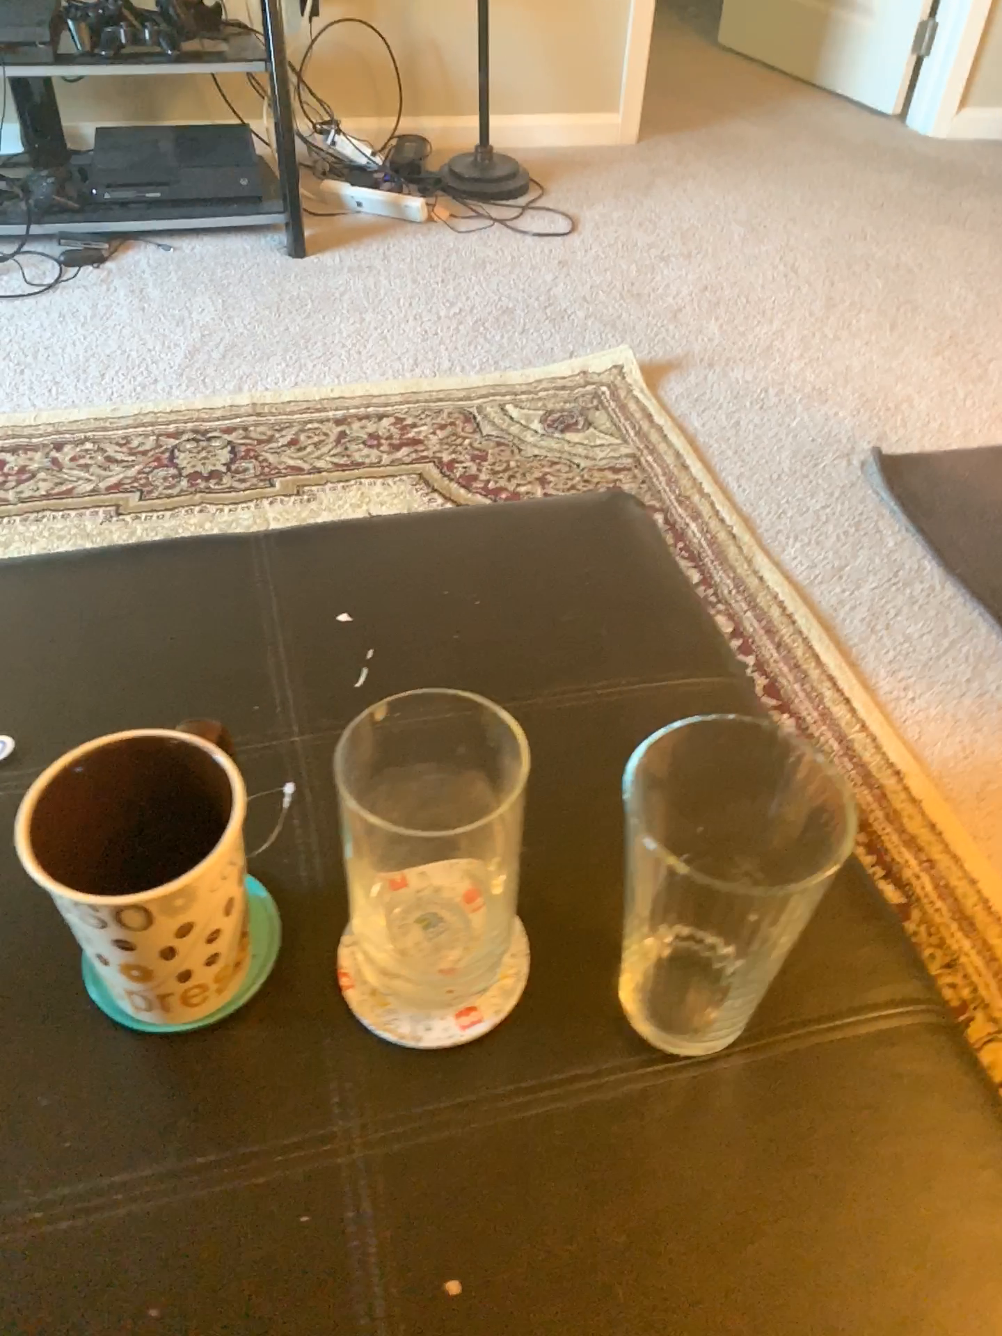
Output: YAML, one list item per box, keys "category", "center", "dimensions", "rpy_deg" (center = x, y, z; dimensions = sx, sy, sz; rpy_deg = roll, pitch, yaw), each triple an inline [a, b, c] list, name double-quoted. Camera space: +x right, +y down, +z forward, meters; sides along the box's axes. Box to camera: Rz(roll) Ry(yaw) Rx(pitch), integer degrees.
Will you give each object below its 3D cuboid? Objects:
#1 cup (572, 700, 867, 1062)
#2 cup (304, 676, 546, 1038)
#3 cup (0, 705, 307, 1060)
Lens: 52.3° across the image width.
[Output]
- category: "cup"
  center: [0.080, 0.091, 0.423]
  dimensions: [0.080, 0.139, 0.080]
  rpy_deg: [2, 44, -2]
- category: "cup"
  center: [-0.027, 0.080, 0.415]
  dimensions: [0.080, 0.129, 0.080]
  rpy_deg: [2, 44, -2]
- category: "cup"
  center: [-0.141, 0.088, 0.420]
  dimensions: [0.090, 0.099, 0.090]
  rpy_deg: [2, 44, -2]
